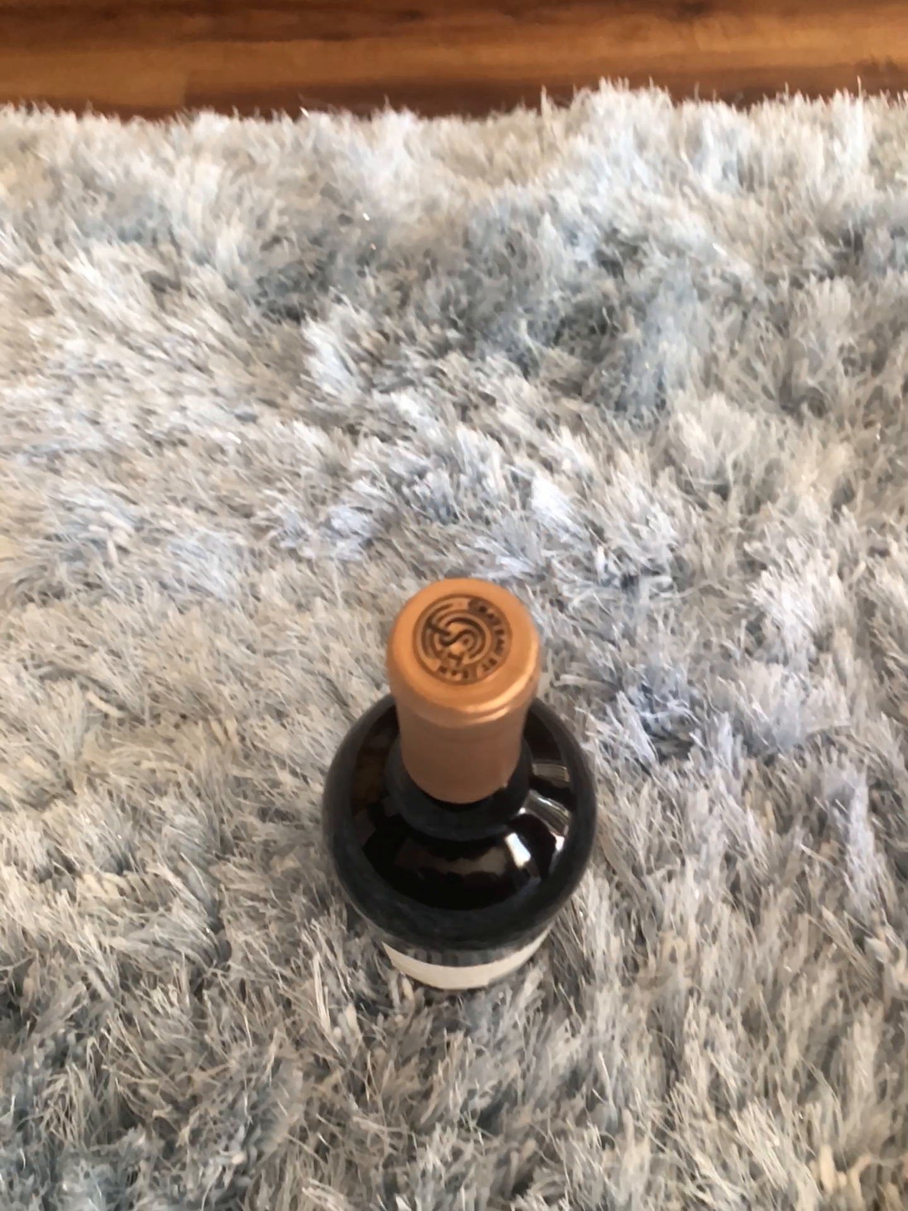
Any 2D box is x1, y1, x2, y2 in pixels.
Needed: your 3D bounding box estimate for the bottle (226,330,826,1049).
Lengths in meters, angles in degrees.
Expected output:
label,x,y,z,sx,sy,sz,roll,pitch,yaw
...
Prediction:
label,x,y,z,sx,sy,sz,roll,pitch,yaw
bottle,0.010,0.063,0.316,0.090,0.299,0.090,0,60,1
